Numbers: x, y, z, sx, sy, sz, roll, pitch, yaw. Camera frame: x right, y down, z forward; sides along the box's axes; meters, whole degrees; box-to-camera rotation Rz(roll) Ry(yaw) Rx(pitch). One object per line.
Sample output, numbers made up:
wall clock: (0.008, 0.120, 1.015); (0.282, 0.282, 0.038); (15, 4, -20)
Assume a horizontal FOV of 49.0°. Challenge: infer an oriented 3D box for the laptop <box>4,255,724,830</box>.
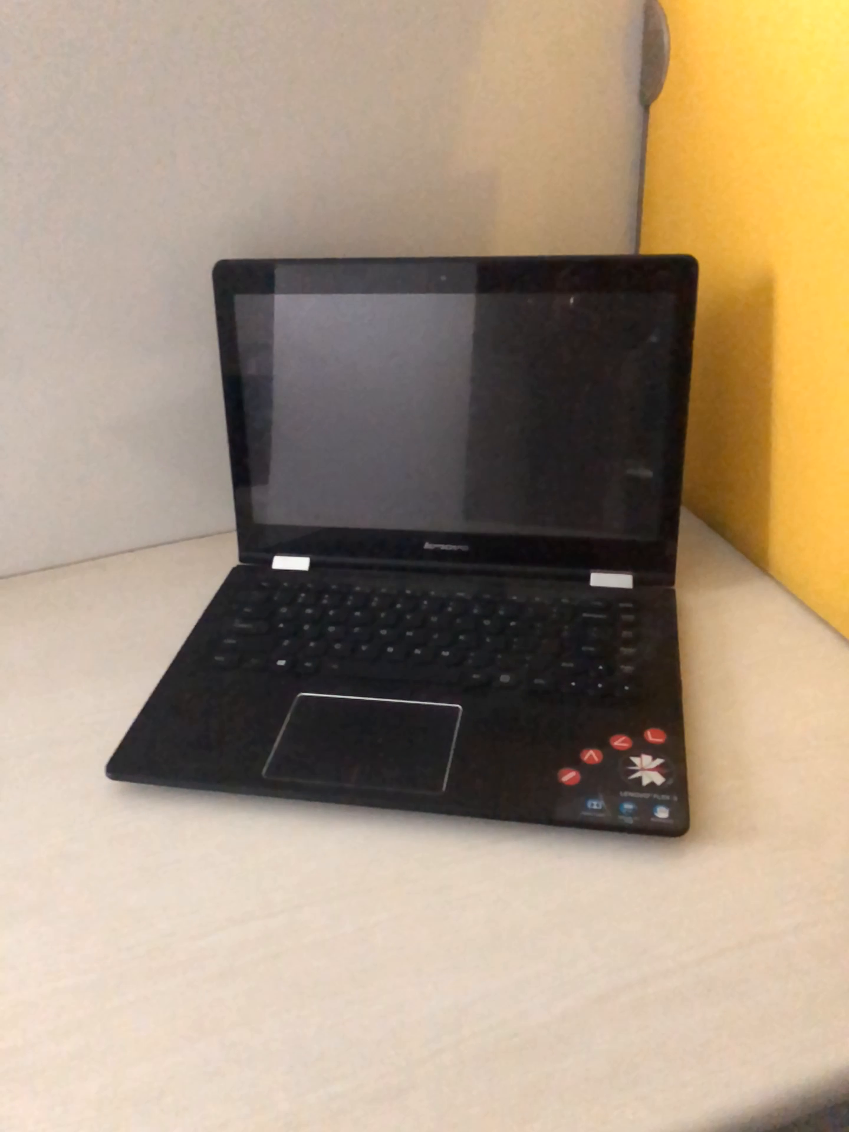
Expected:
laptop: (-0.009, -0.039, 0.559); (0.311, 0.225, 0.265); (3, 33, 11)
